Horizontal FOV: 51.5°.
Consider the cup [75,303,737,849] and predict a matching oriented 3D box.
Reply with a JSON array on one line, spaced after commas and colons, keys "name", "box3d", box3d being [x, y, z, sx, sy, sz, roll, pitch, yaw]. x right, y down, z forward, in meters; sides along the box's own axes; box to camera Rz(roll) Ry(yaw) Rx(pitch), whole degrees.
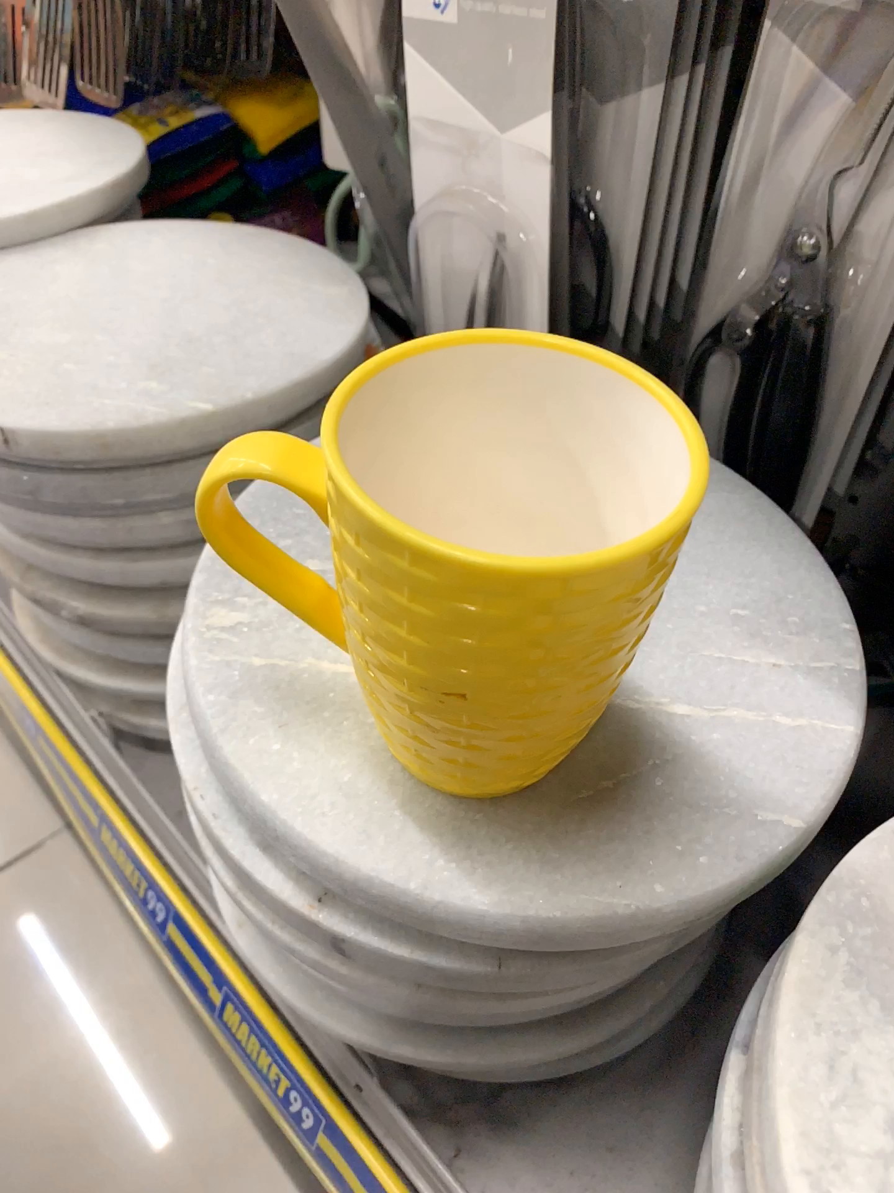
[{"name": "cup", "box3d": [-0.006, -0.006, 0.231, 0.120, 0.090, 0.090, 4, 44, 2]}]
